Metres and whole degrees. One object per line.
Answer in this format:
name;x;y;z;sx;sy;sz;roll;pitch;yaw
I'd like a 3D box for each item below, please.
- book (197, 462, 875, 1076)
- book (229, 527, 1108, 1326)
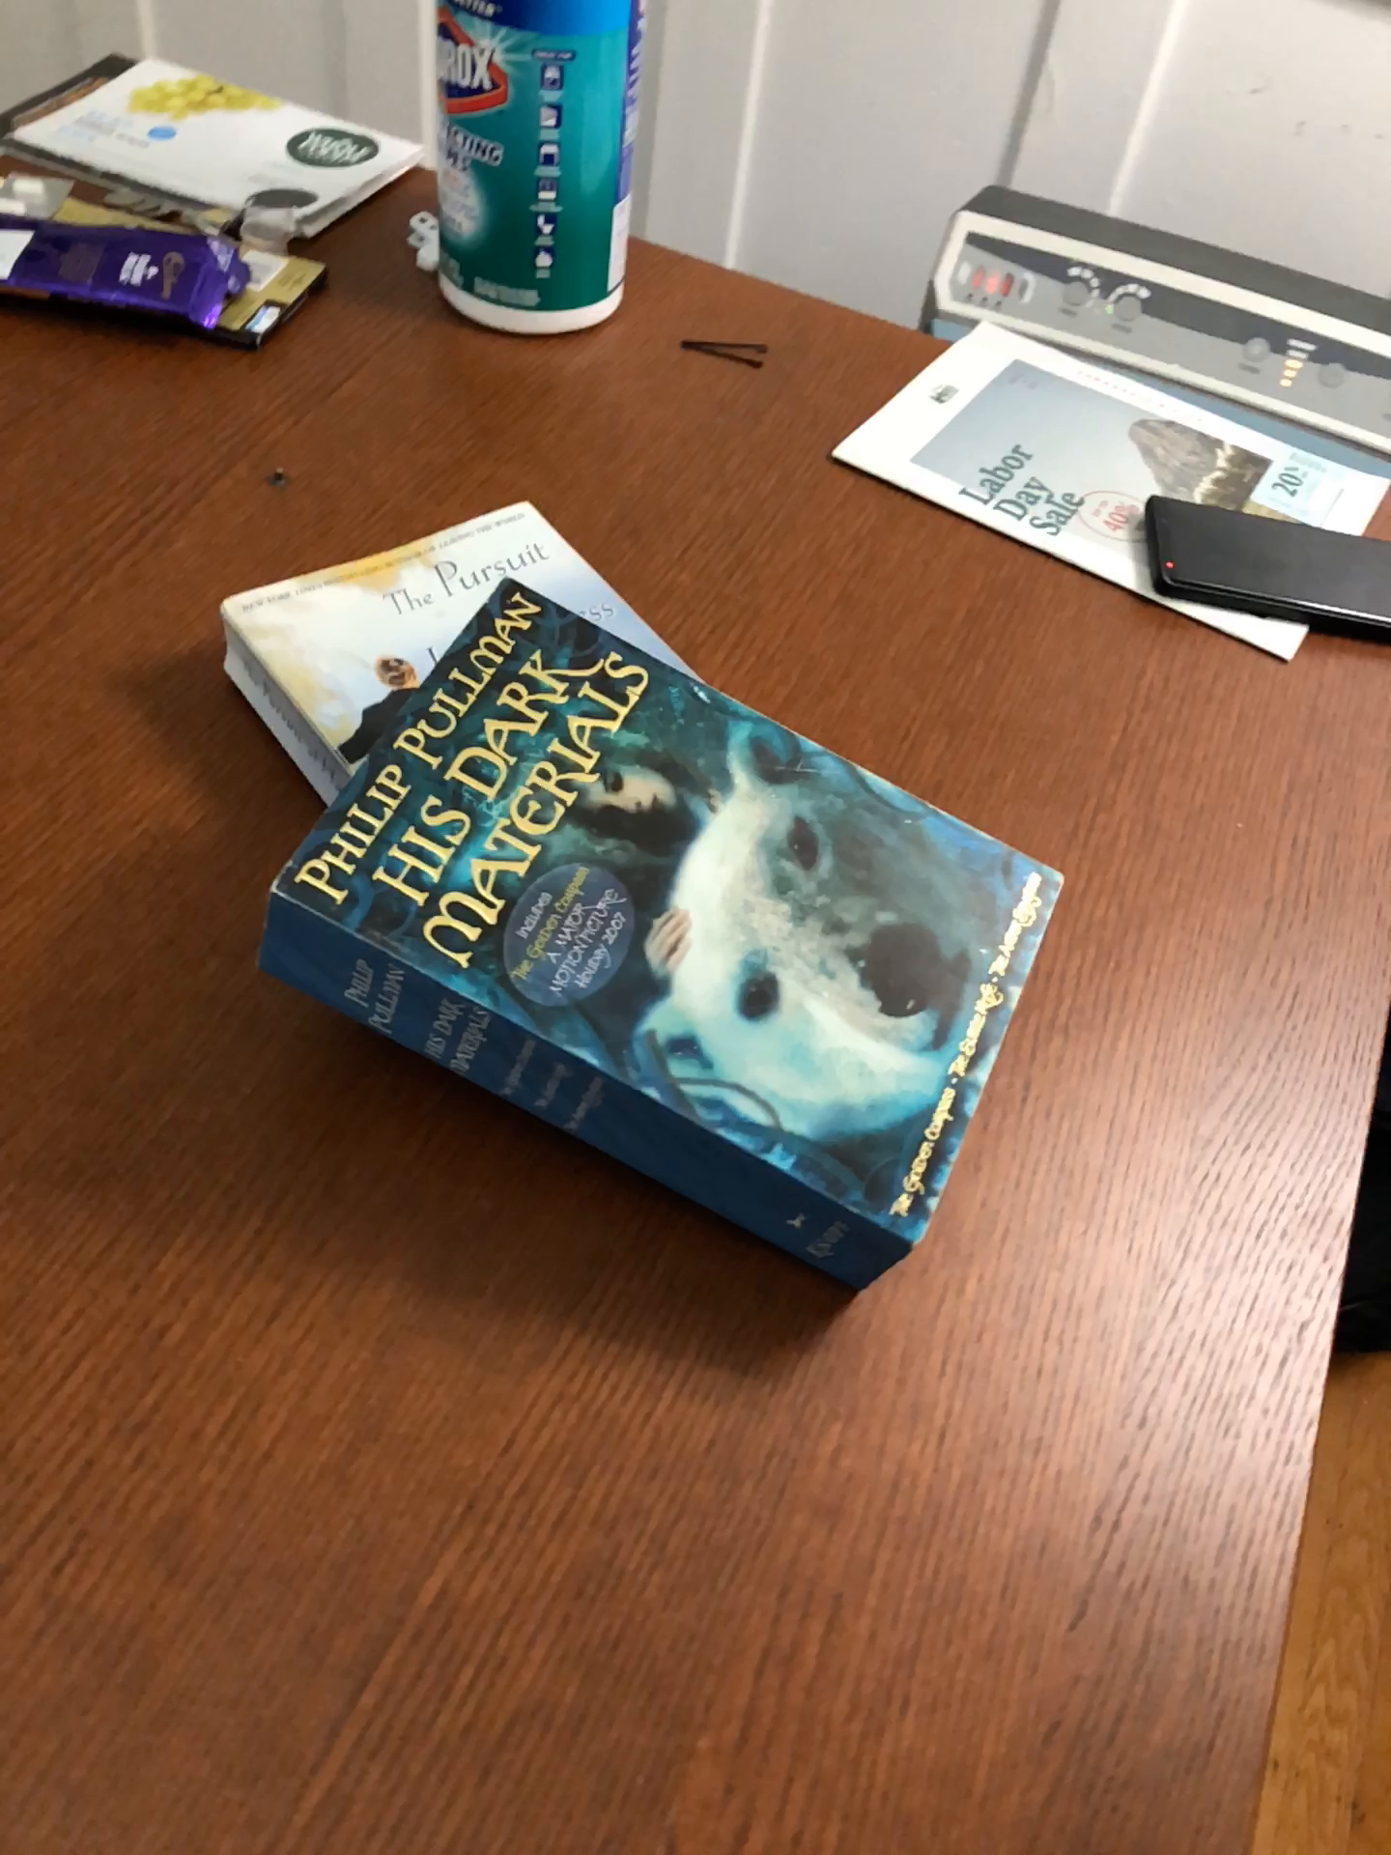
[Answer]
book;-0.070;-0.078;0.619;0.170;0.040;0.241;-26;60;-21
book;-0.001;-0.006;0.510;0.240;0.060;0.171;28;54;-2
